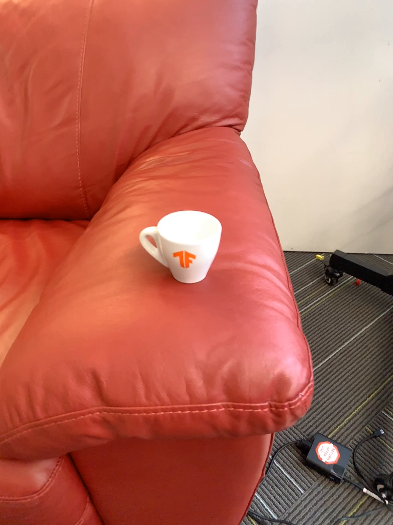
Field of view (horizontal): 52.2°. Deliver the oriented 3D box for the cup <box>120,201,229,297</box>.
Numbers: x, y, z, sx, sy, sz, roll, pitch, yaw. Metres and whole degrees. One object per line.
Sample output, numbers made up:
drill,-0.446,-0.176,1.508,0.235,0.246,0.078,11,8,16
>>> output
cup,-0.018,-0.015,0.402,0.090,0.060,0.060,9,38,14
